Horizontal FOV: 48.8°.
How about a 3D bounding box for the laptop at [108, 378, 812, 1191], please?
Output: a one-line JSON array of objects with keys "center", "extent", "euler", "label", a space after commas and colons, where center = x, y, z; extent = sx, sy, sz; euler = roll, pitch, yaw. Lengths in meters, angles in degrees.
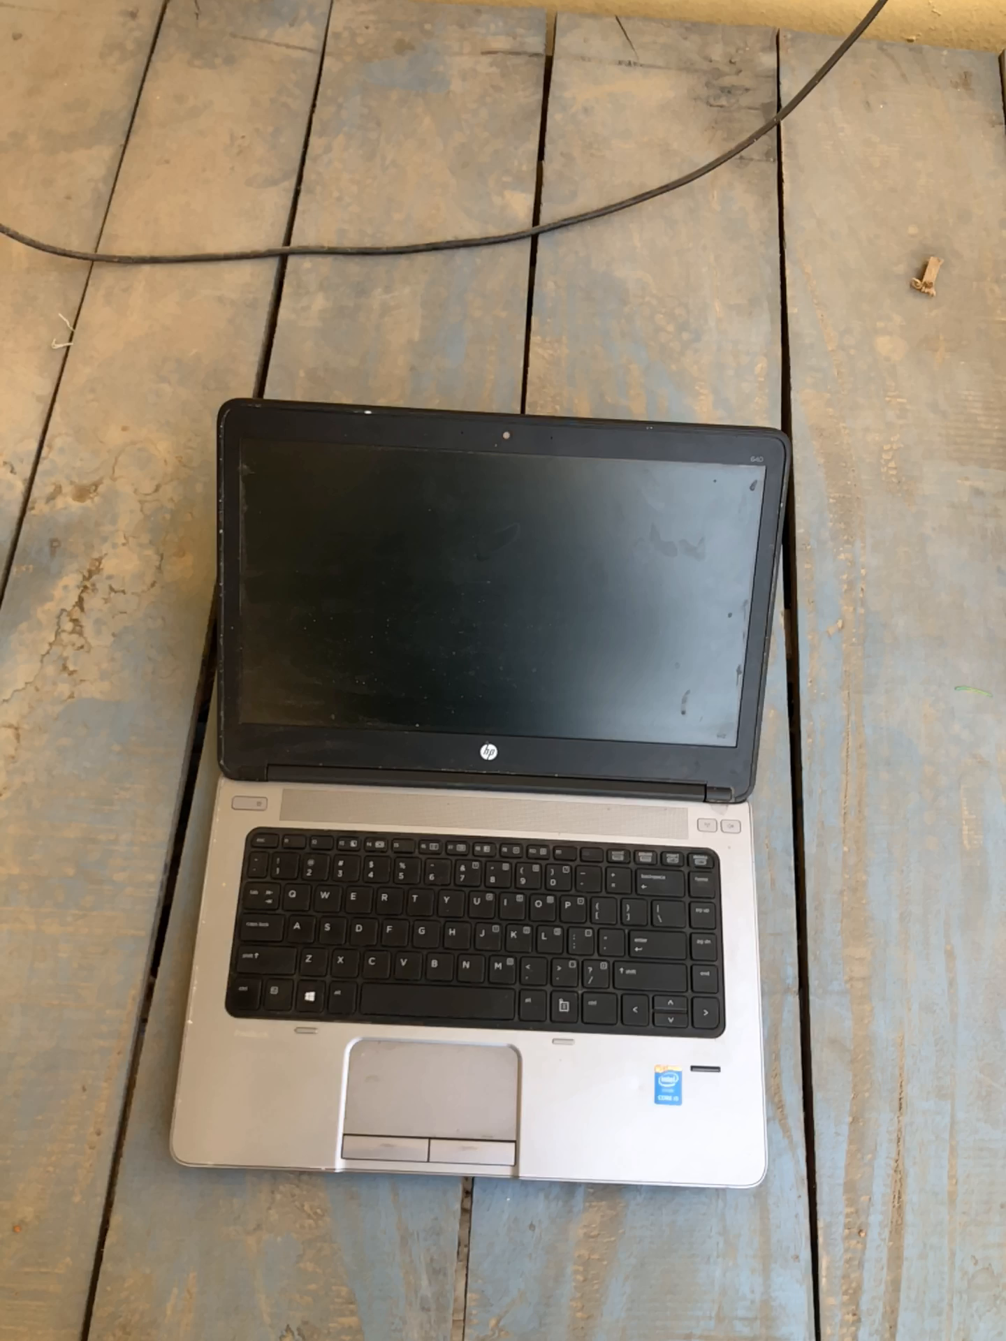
[{"center": [-0.011, 0.056, 0.602], "extent": [0.306, 0.123, 0.389], "euler": [3, 71, 0], "label": "laptop"}]
